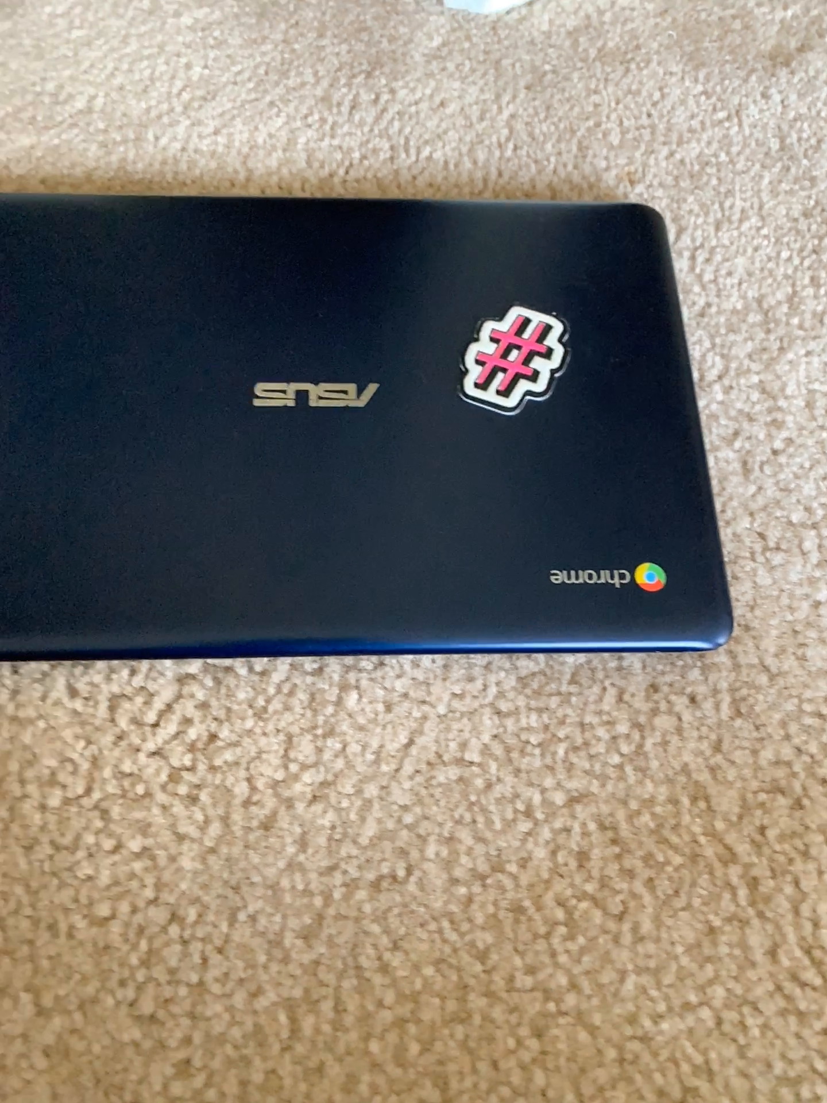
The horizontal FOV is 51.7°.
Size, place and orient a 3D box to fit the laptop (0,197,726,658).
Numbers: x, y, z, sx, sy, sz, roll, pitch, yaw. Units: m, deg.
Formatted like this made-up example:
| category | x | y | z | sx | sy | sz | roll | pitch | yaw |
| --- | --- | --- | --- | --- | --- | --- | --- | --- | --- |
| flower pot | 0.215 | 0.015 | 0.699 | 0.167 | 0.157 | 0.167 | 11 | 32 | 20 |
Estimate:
| category | x | y | z | sx | sy | sz | roll | pitch | yaw |
| --- | --- | --- | --- | --- | --- | --- | --- | --- | --- |
| laptop | -0.034 | -0.052 | 0.312 | 0.271 | 0.006 | 0.182 | 0 | 69 | -4 |
